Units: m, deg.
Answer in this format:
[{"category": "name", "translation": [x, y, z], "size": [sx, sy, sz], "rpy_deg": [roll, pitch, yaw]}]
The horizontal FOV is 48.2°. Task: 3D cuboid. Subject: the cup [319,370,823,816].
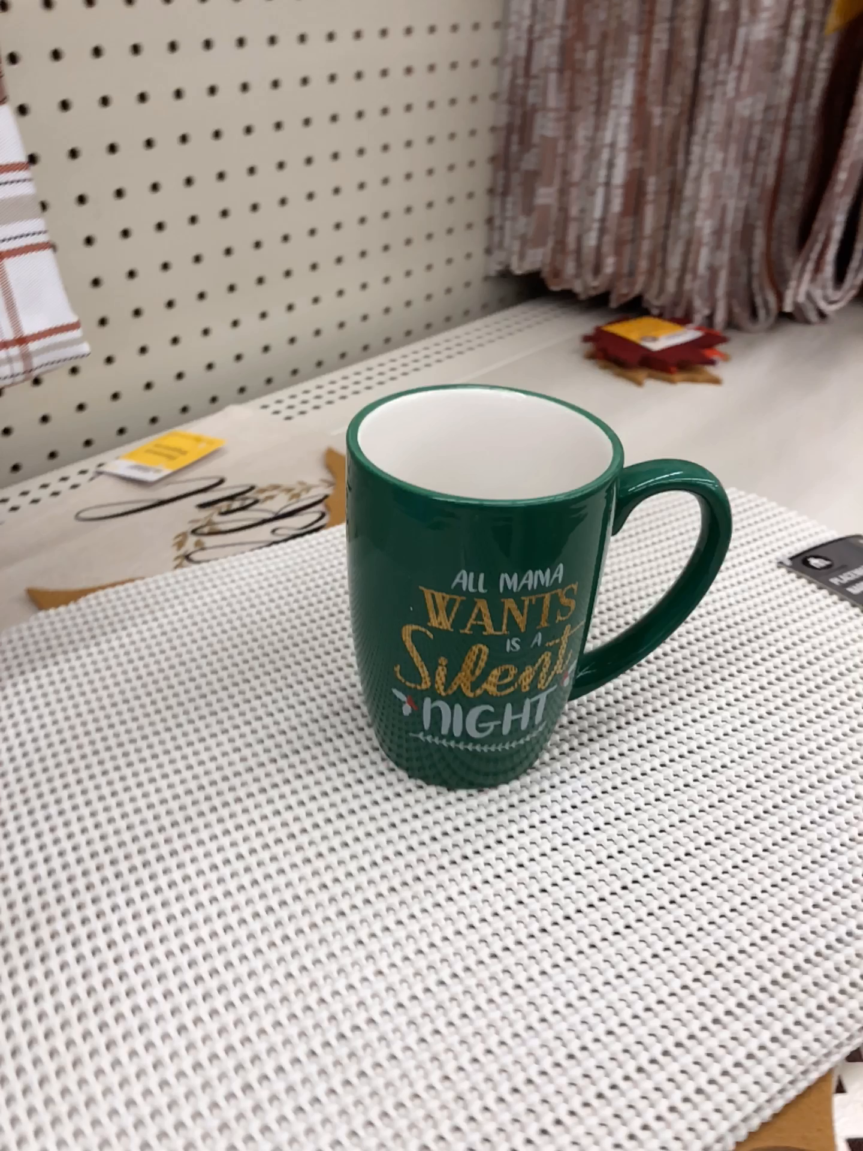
[{"category": "cup", "translation": [0.037, 0.001, 0.343], "size": [0.140, 0.110, 0.100], "rpy_deg": [-5, 33, -8]}]
